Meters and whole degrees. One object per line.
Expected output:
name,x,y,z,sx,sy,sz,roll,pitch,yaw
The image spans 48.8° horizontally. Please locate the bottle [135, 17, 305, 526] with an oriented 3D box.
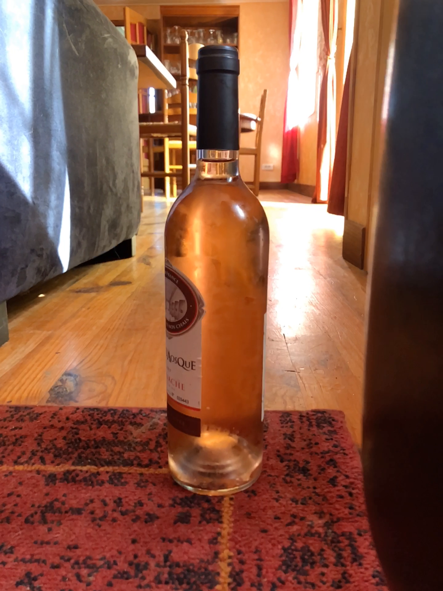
bottle,-0.004,-0.010,0.347,0.080,0.309,0.090,-6,14,-22
